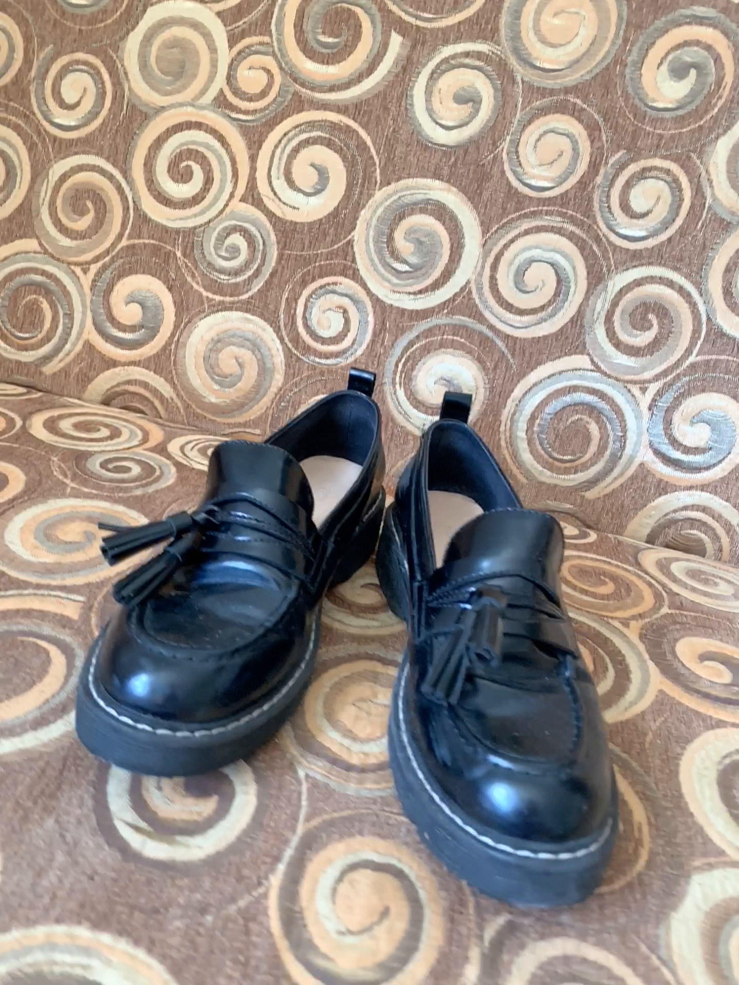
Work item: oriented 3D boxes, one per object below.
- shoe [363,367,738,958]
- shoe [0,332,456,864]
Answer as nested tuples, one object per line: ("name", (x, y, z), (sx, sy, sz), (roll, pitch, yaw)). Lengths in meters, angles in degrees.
("shoe", (0.056, 0.045, 0.322), (0.090, 0.099, 0.241), (6, 31, -8))
("shoe", (-0.040, 0.018, 0.345), (0.090, 0.099, 0.241), (17, 31, 11))
